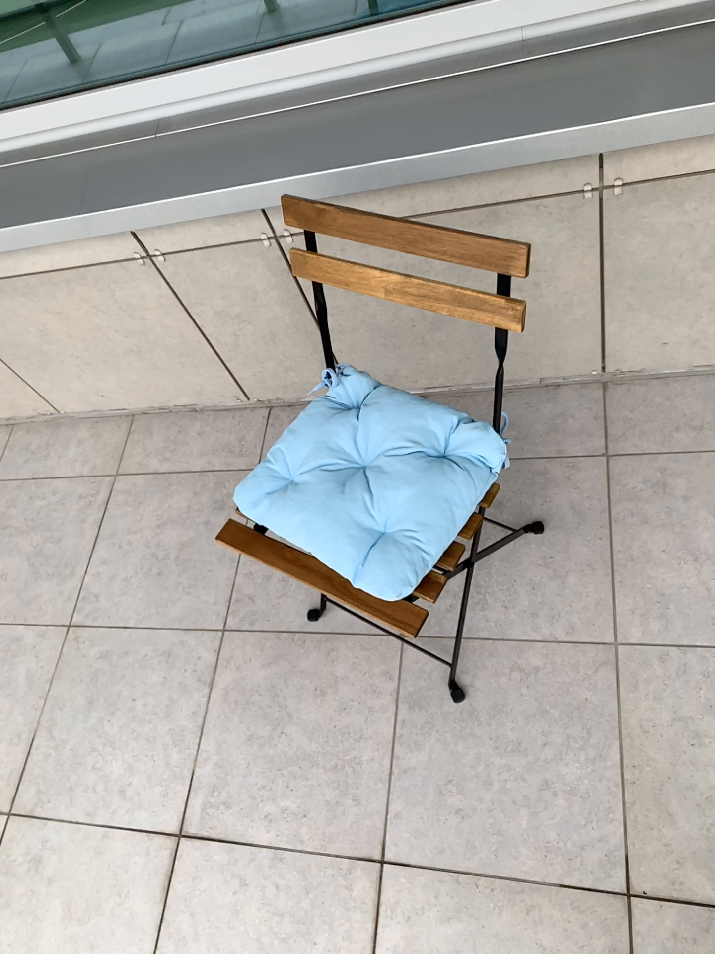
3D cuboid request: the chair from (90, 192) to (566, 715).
[{"bbox_3d":[0.040,0.008,1.236,0.418,0.750,0.452,22,69,29],"label":"chair"}]
